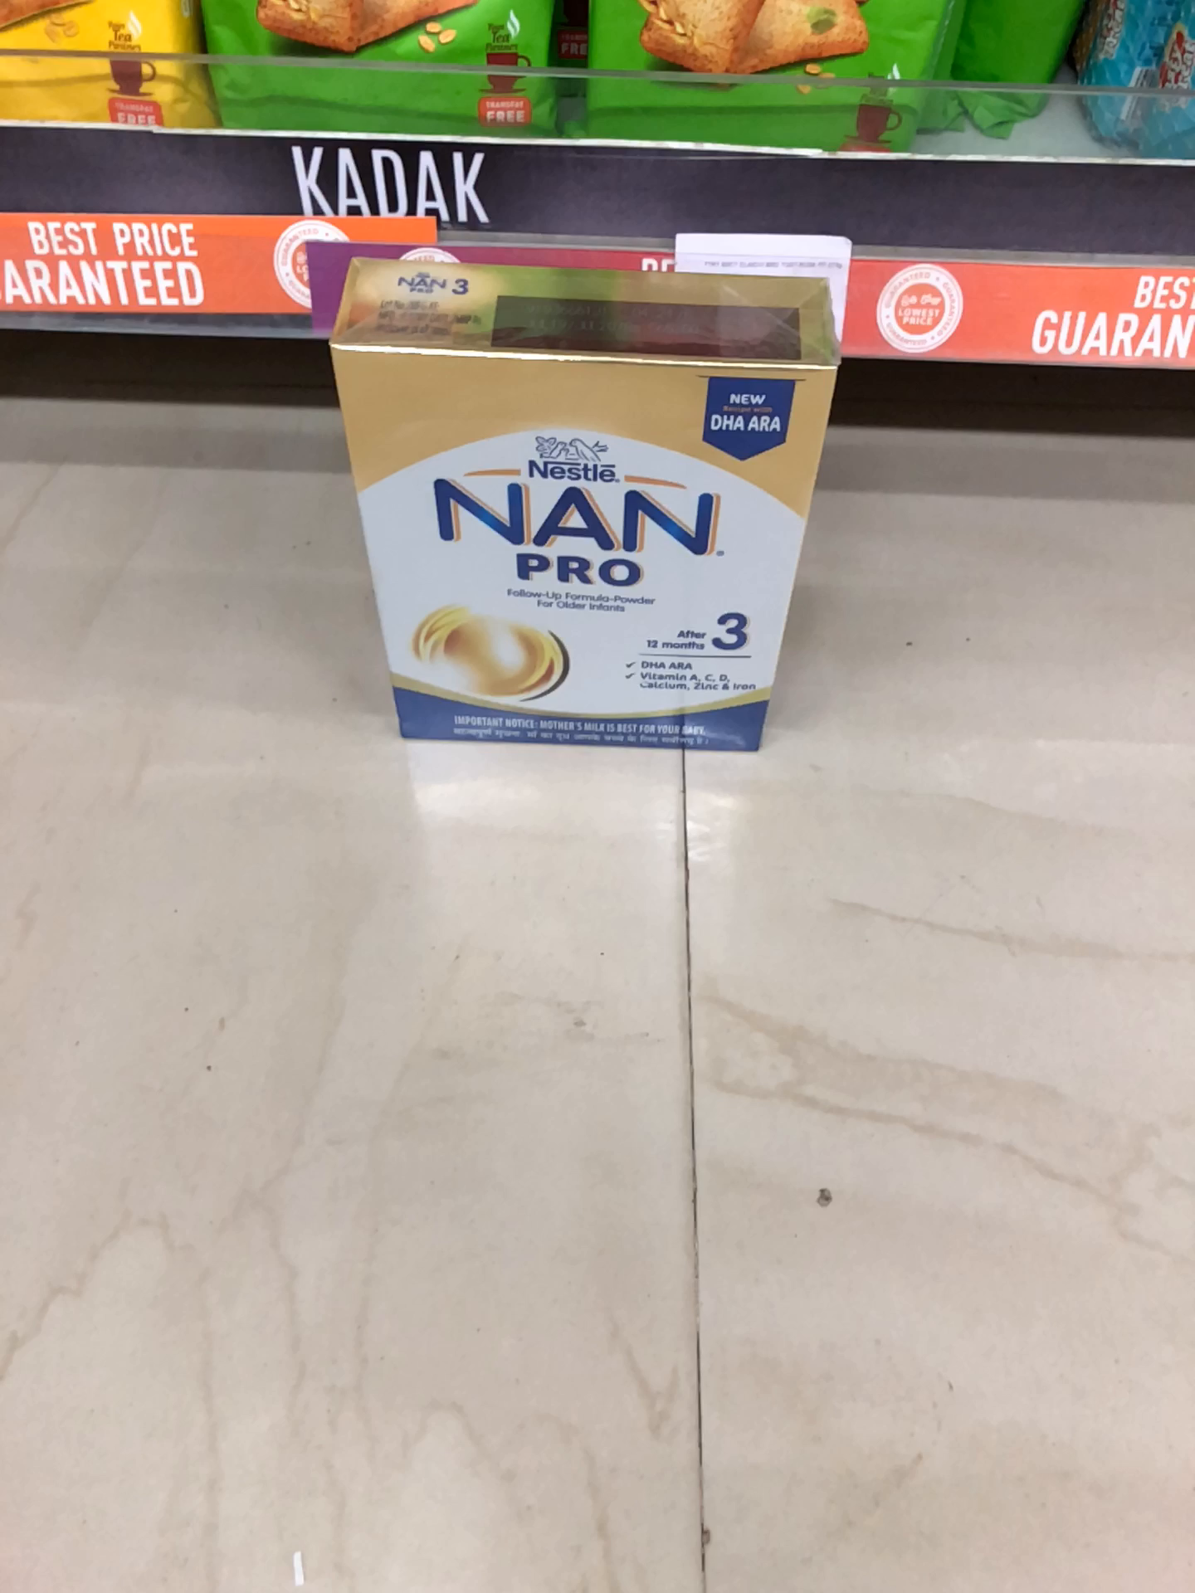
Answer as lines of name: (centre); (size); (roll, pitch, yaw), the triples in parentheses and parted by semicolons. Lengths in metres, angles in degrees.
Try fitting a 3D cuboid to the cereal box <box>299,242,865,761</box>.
cereal box: (-0.005, -0.092, 0.466); (0.160, 0.189, 0.050); (2, 56, 0)
